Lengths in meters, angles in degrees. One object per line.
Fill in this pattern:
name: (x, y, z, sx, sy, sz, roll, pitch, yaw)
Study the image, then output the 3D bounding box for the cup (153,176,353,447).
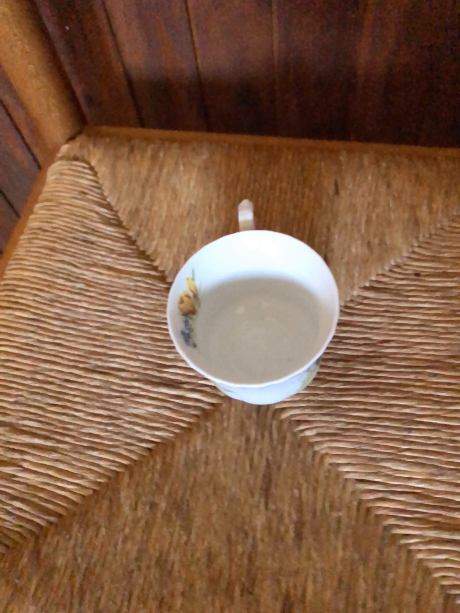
cup: (0.010, 0.003, 0.292, 0.090, 0.070, 0.131, -5, 61, 4)
